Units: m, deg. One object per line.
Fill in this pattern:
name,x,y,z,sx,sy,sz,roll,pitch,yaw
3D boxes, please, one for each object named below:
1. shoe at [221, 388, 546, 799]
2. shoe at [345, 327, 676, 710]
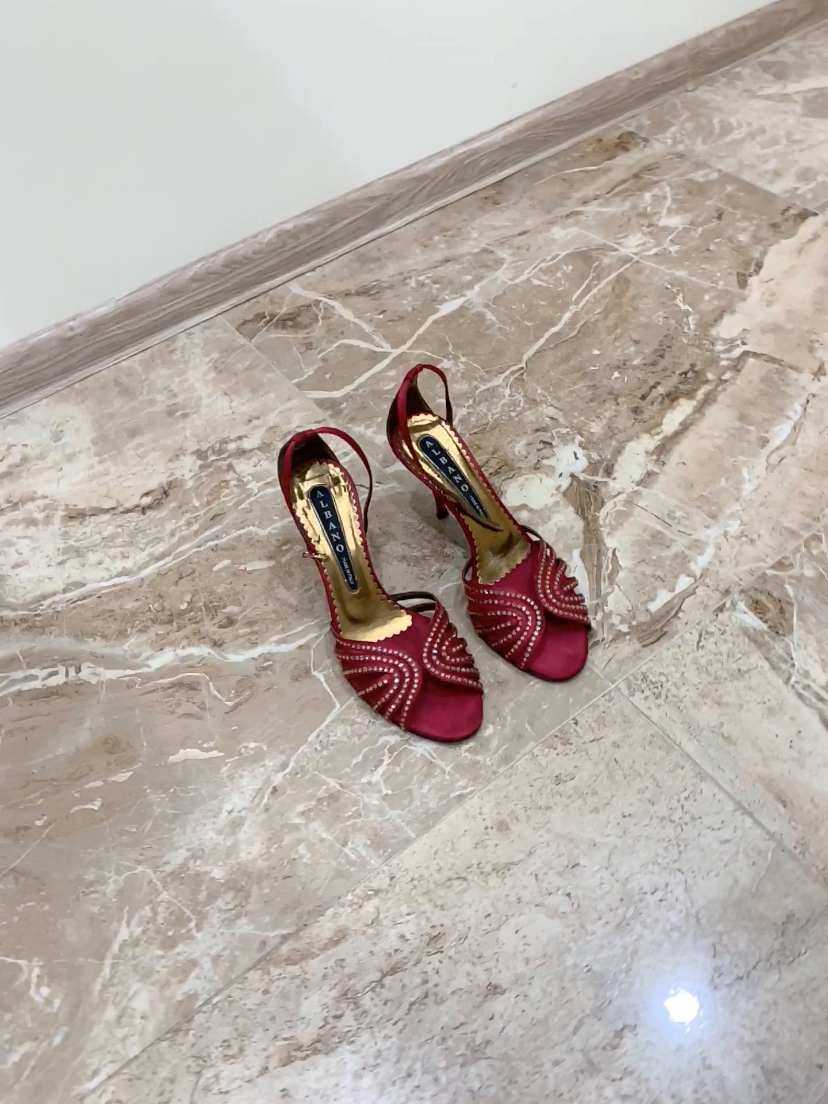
shoe,-0.024,0.021,0.559,0.090,0.129,0.231,-28,55,-17
shoe,0.056,-0.029,0.590,0.090,0.129,0.231,-28,55,-17
